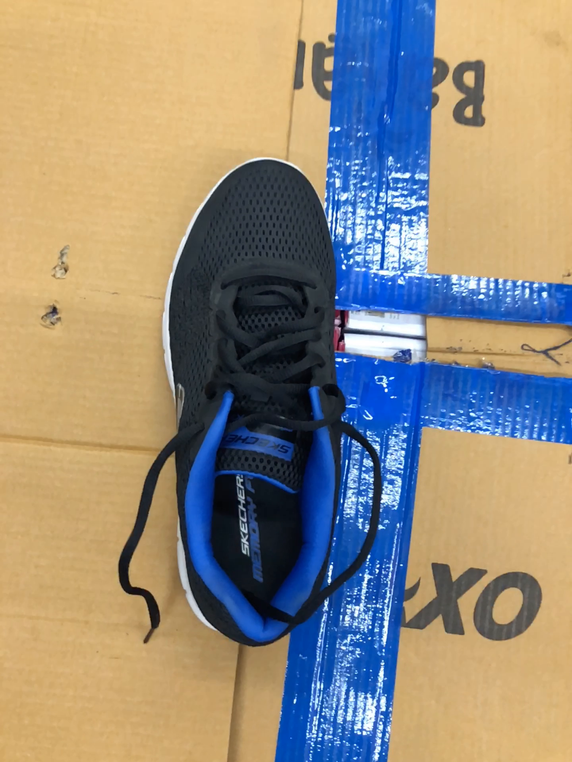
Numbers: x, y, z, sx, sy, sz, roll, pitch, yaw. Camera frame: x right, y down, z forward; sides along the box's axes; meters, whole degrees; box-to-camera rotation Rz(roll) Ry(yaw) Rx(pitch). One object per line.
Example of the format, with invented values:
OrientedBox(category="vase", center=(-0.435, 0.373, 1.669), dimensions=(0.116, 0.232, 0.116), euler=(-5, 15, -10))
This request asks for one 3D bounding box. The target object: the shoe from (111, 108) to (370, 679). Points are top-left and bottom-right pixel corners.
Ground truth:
OrientedBox(category="shoe", center=(-0.022, 0.007, 0.366), dimensions=(0.110, 0.130, 0.270), euler=(3, 83, -3))
